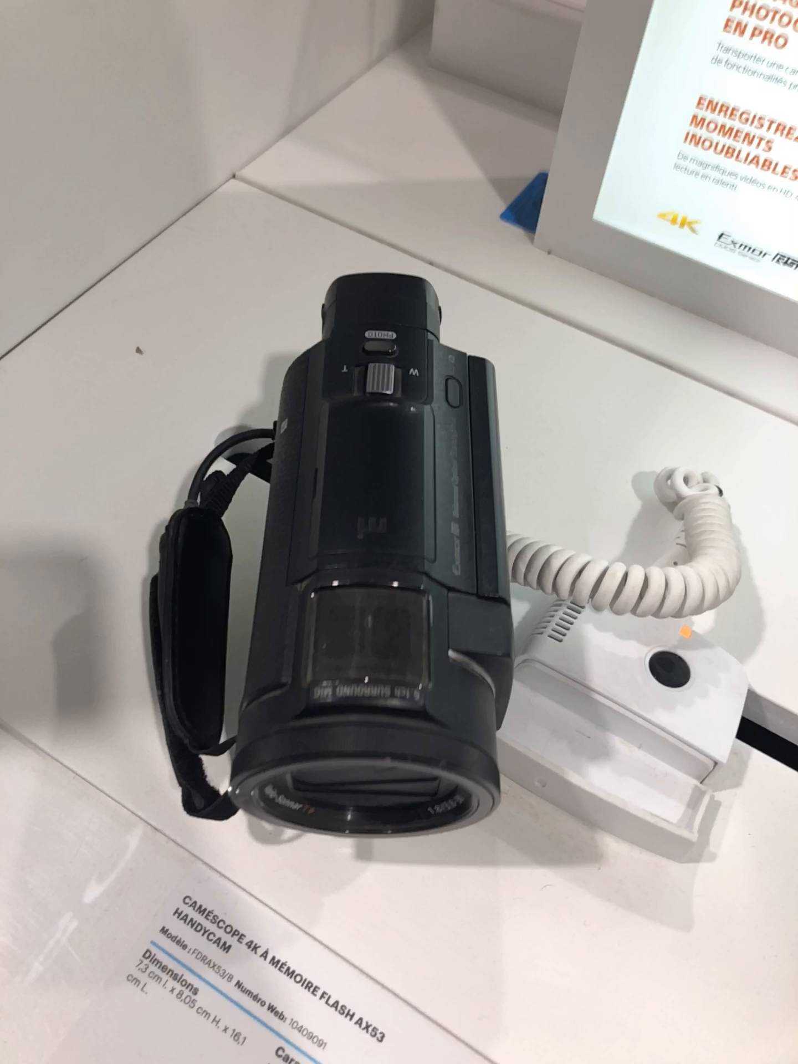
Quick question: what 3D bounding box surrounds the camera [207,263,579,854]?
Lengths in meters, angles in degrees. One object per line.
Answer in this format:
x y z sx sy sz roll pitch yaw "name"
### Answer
-0.004 0.003 0.246 0.073 0.070 0.149 1 54 -3 "camera"
